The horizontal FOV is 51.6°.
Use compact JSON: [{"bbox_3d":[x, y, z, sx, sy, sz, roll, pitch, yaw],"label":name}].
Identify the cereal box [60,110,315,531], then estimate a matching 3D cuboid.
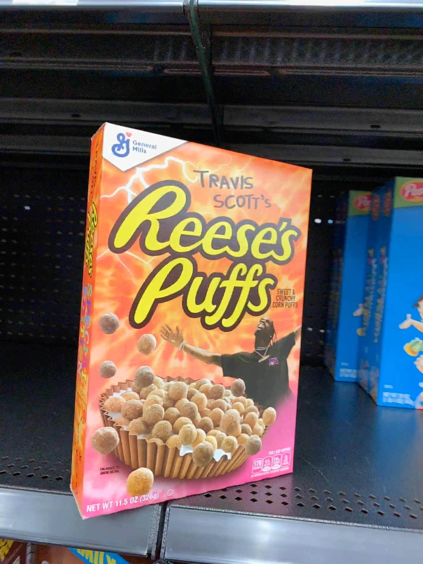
[{"bbox_3d":[-0.013,0.029,0.370,0.200,0.290,0.050,2,0,-28],"label":"cereal box"}]
